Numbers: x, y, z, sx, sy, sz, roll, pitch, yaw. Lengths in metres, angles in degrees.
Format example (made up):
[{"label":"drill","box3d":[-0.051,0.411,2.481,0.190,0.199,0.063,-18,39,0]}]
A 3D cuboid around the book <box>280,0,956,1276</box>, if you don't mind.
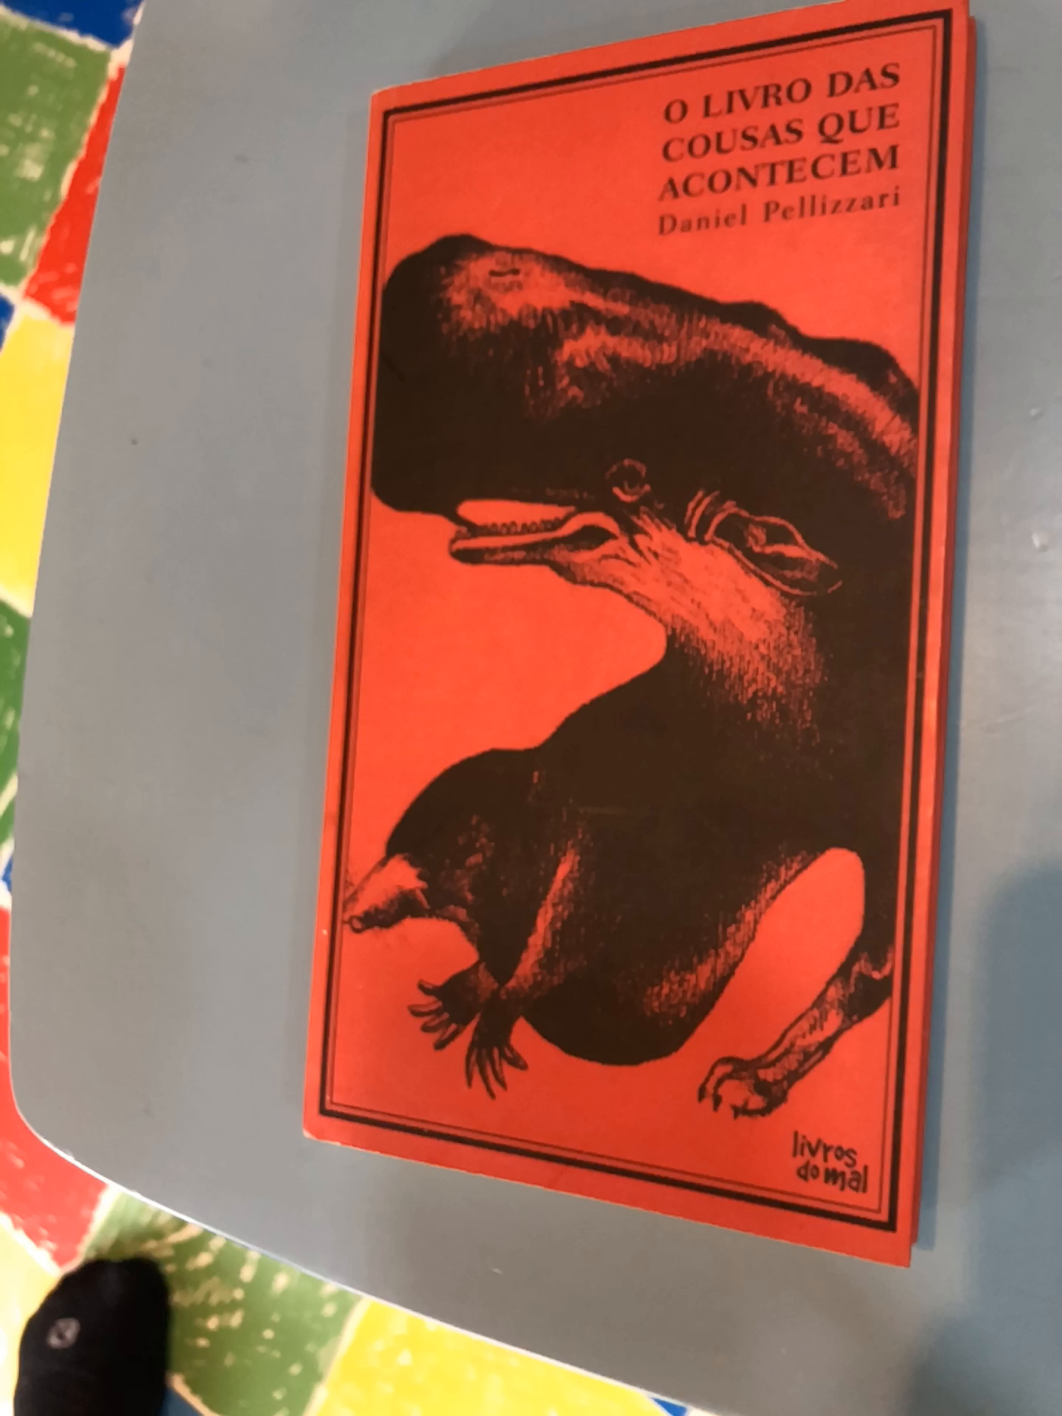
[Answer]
[{"label":"book","box3d":[0.012,-0.017,0.212,0.110,0.016,0.200,2,87,24]}]
